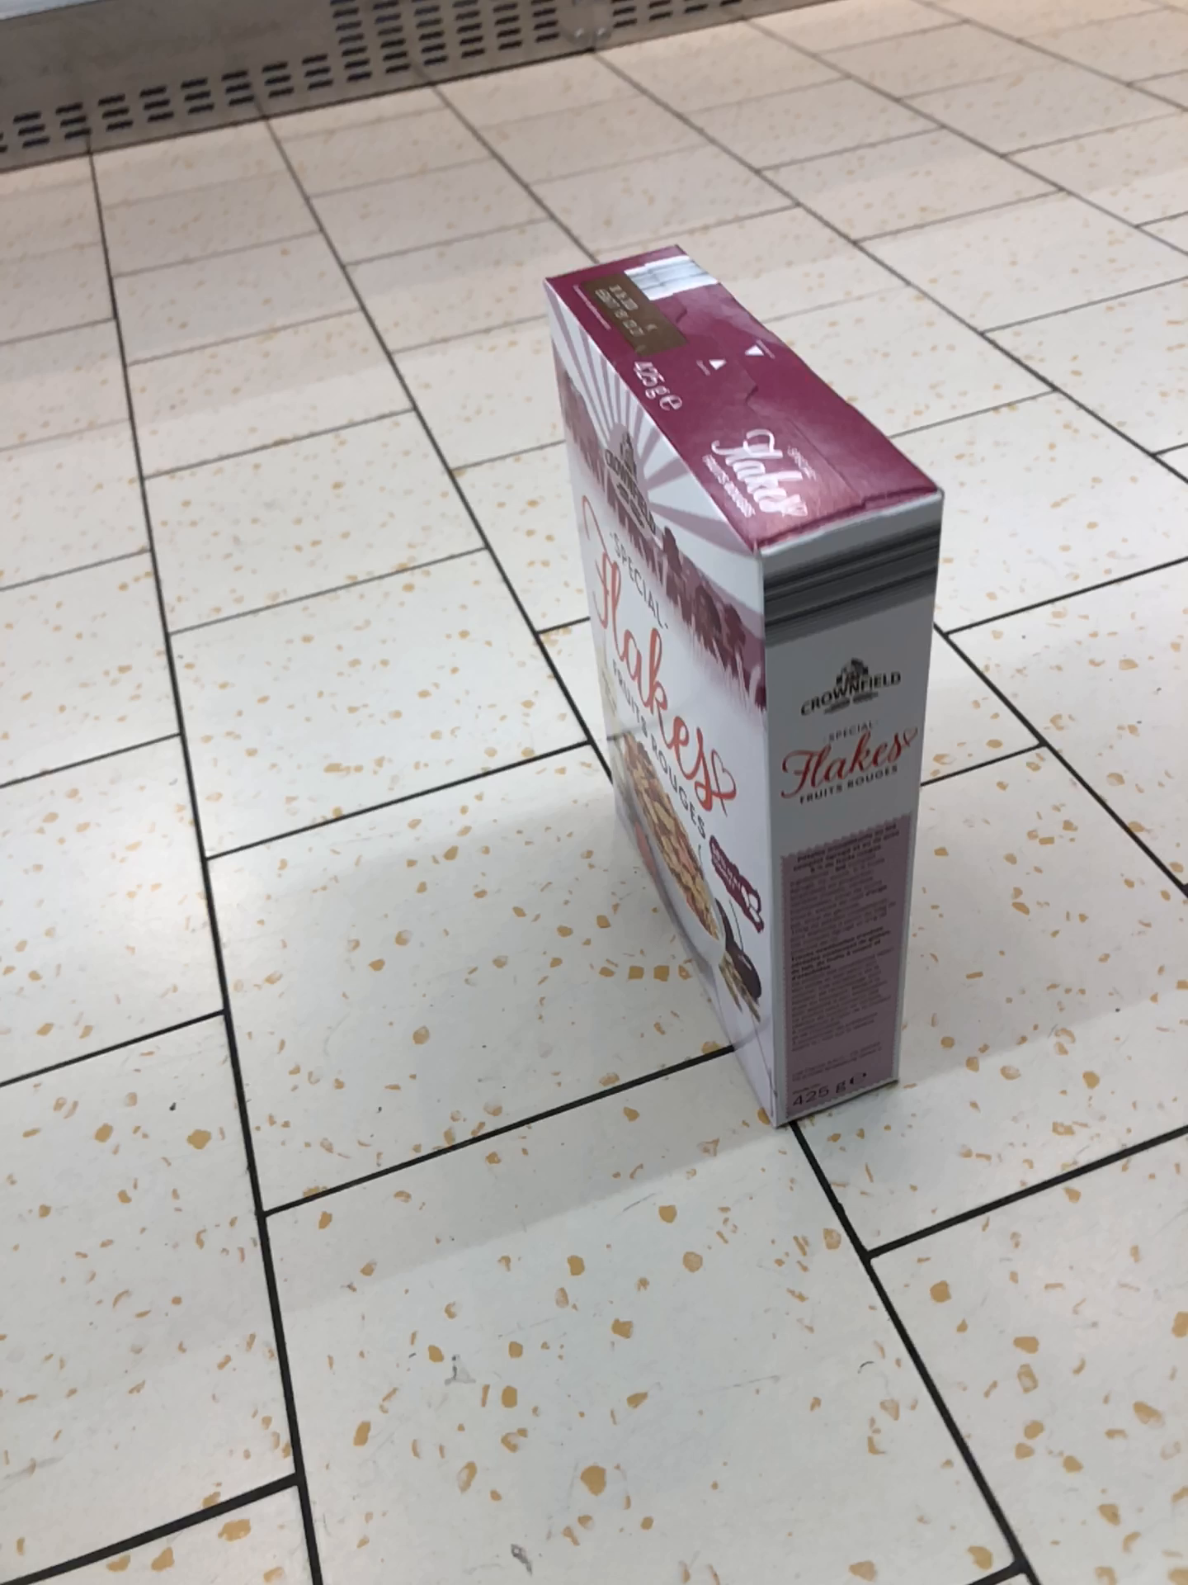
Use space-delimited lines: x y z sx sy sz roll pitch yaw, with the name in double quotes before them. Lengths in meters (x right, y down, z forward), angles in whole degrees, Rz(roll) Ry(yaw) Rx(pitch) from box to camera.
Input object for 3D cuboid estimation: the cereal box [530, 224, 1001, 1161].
"cereal box" 0.051 -0.031 0.465 0.060 0.258 0.201 -17 43 -9
